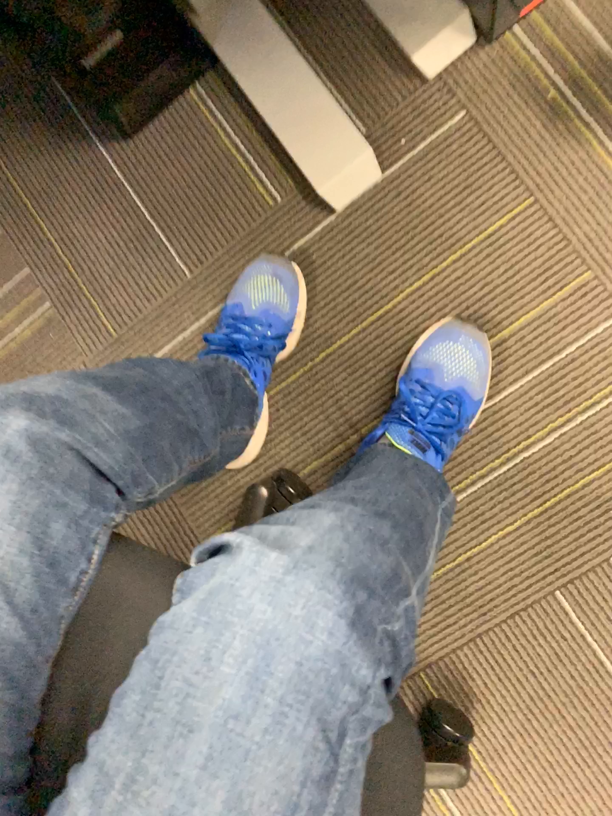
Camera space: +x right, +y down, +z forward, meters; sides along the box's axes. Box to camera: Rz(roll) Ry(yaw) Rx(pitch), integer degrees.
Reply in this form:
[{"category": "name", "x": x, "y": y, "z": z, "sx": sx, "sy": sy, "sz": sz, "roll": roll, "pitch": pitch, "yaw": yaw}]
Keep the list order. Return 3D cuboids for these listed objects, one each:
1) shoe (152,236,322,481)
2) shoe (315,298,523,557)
[{"category": "shoe", "x": -0.087, "y": -0.062, "z": 0.805, "sx": 0.116, "sy": 0.083, "sz": 0.278, "roll": 20, "pitch": 95, "yaw": 12}, {"category": "shoe", "x": 0.136, "y": 0.023, "z": 0.763, "sx": 0.117, "sy": 0.083, "sz": 0.278, "roll": 30, "pitch": 97, "yaw": 11}]
